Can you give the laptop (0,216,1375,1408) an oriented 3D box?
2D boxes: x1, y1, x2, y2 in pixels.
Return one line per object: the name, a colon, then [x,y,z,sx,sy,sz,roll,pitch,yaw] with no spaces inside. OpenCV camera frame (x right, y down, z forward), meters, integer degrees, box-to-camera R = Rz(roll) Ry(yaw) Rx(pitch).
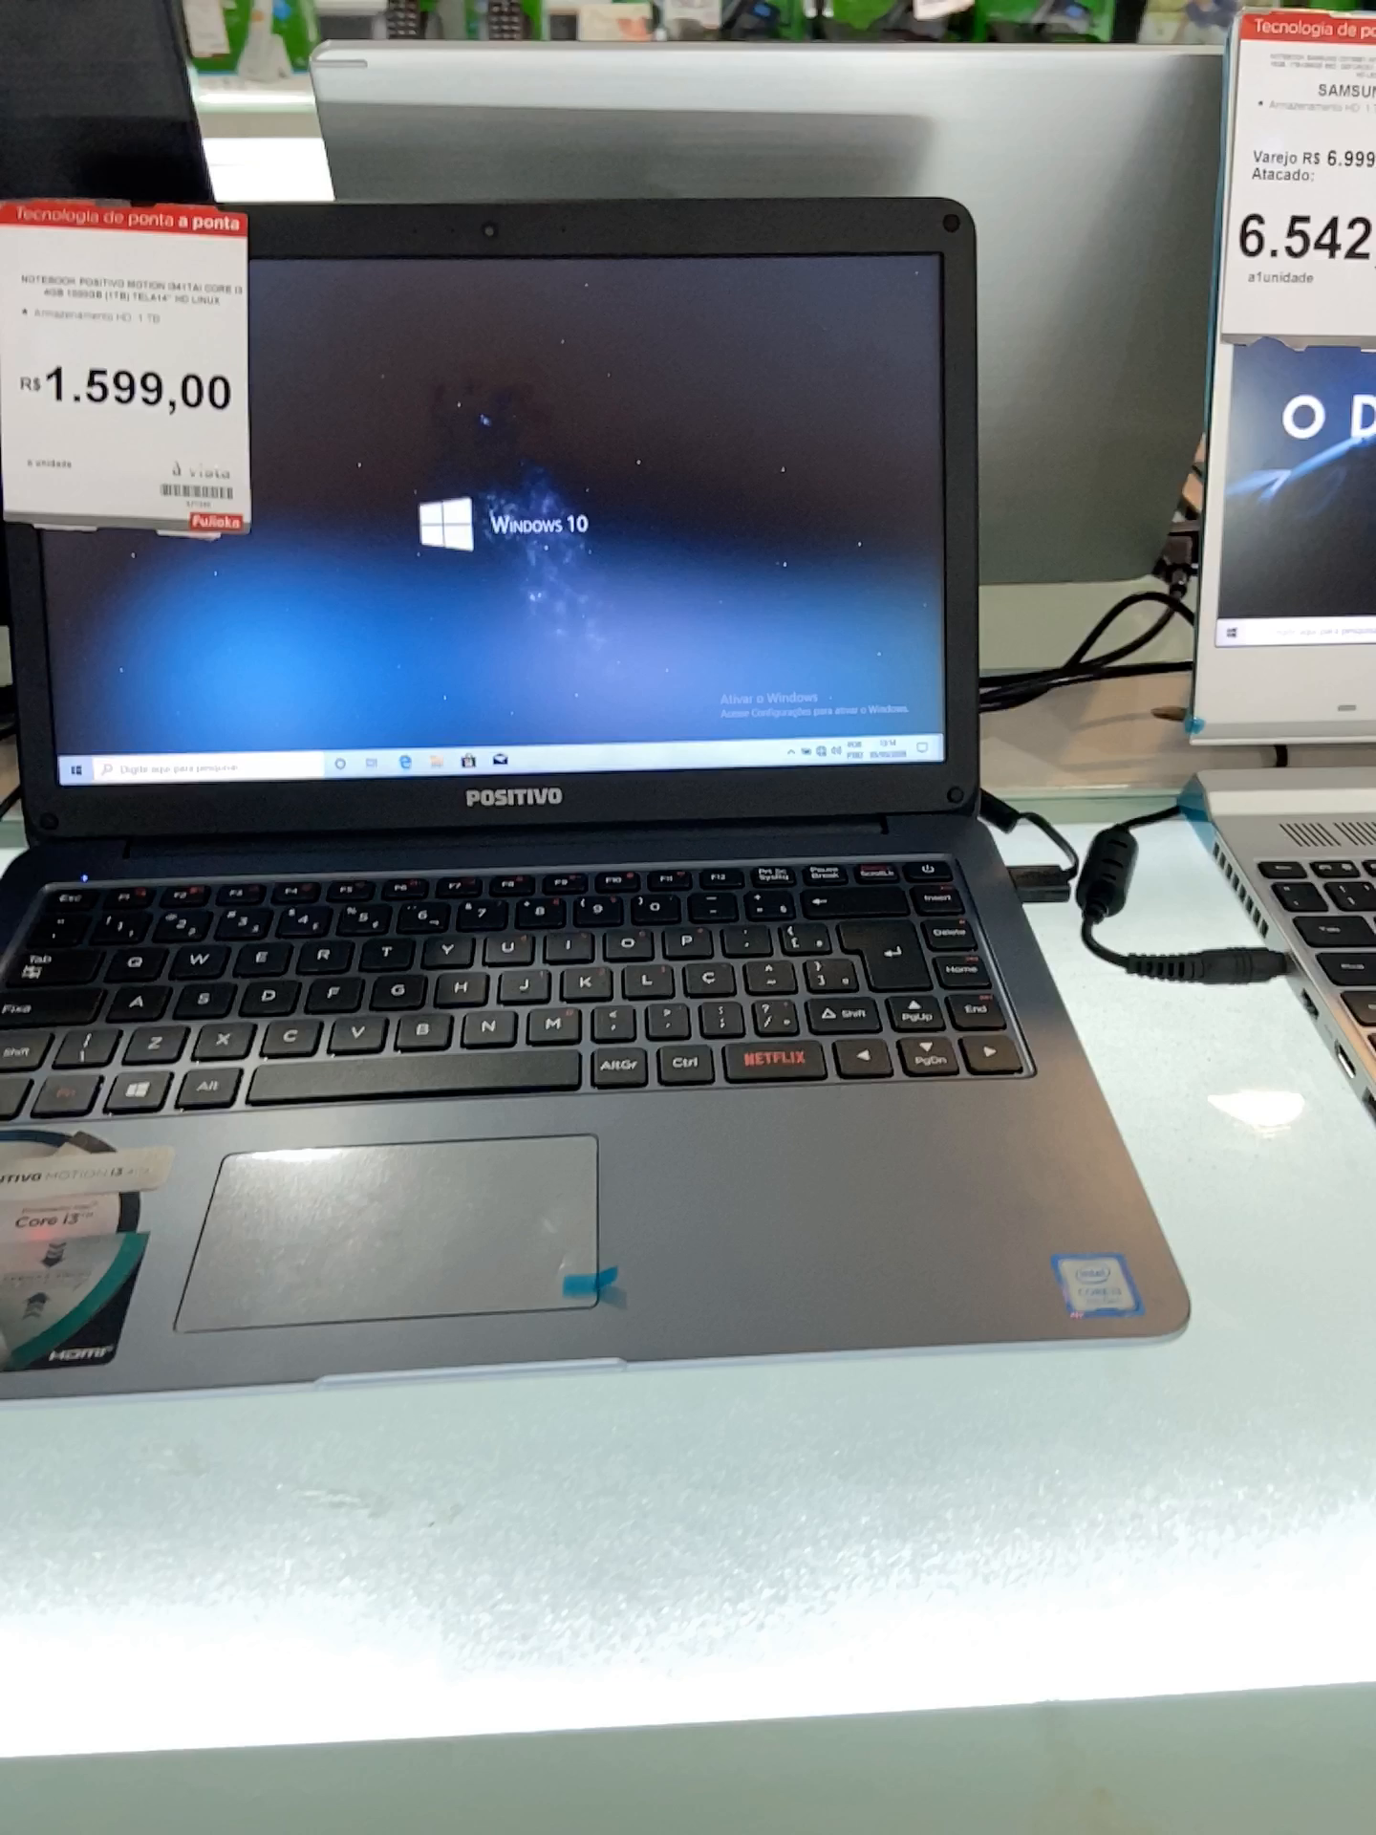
laptop: [-0.057,-0.067,0.389,0.319,0.171,0.326,-2,36,-3]
